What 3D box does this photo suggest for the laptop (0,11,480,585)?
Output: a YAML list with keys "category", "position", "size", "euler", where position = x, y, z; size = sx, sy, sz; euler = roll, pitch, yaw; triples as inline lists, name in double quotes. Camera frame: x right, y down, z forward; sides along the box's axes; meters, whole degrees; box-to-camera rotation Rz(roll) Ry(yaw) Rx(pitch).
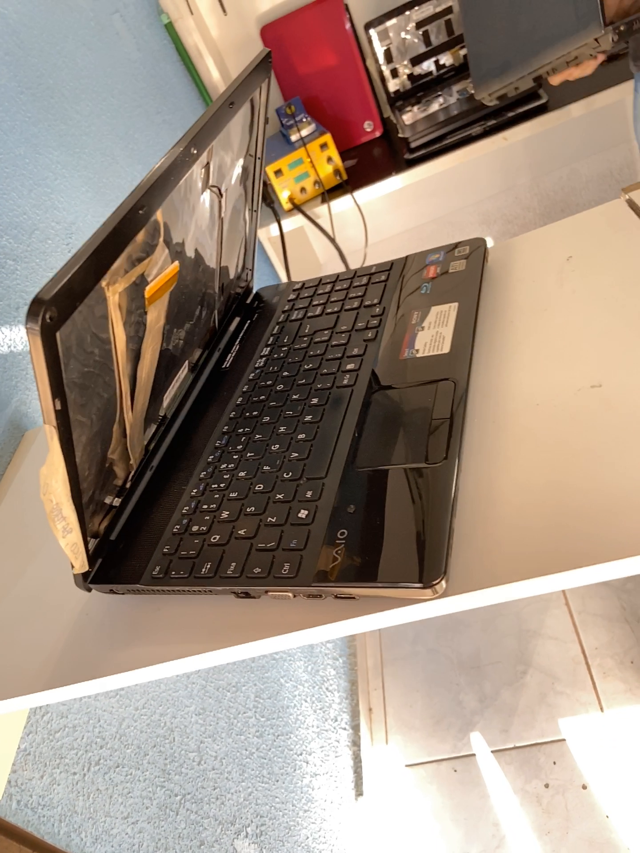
- category: "laptop"
  position: [-0.046, -0.099, 0.467]
  size: [0.242, 0.193, 0.366]
  euler: [-8, 41, 26]
